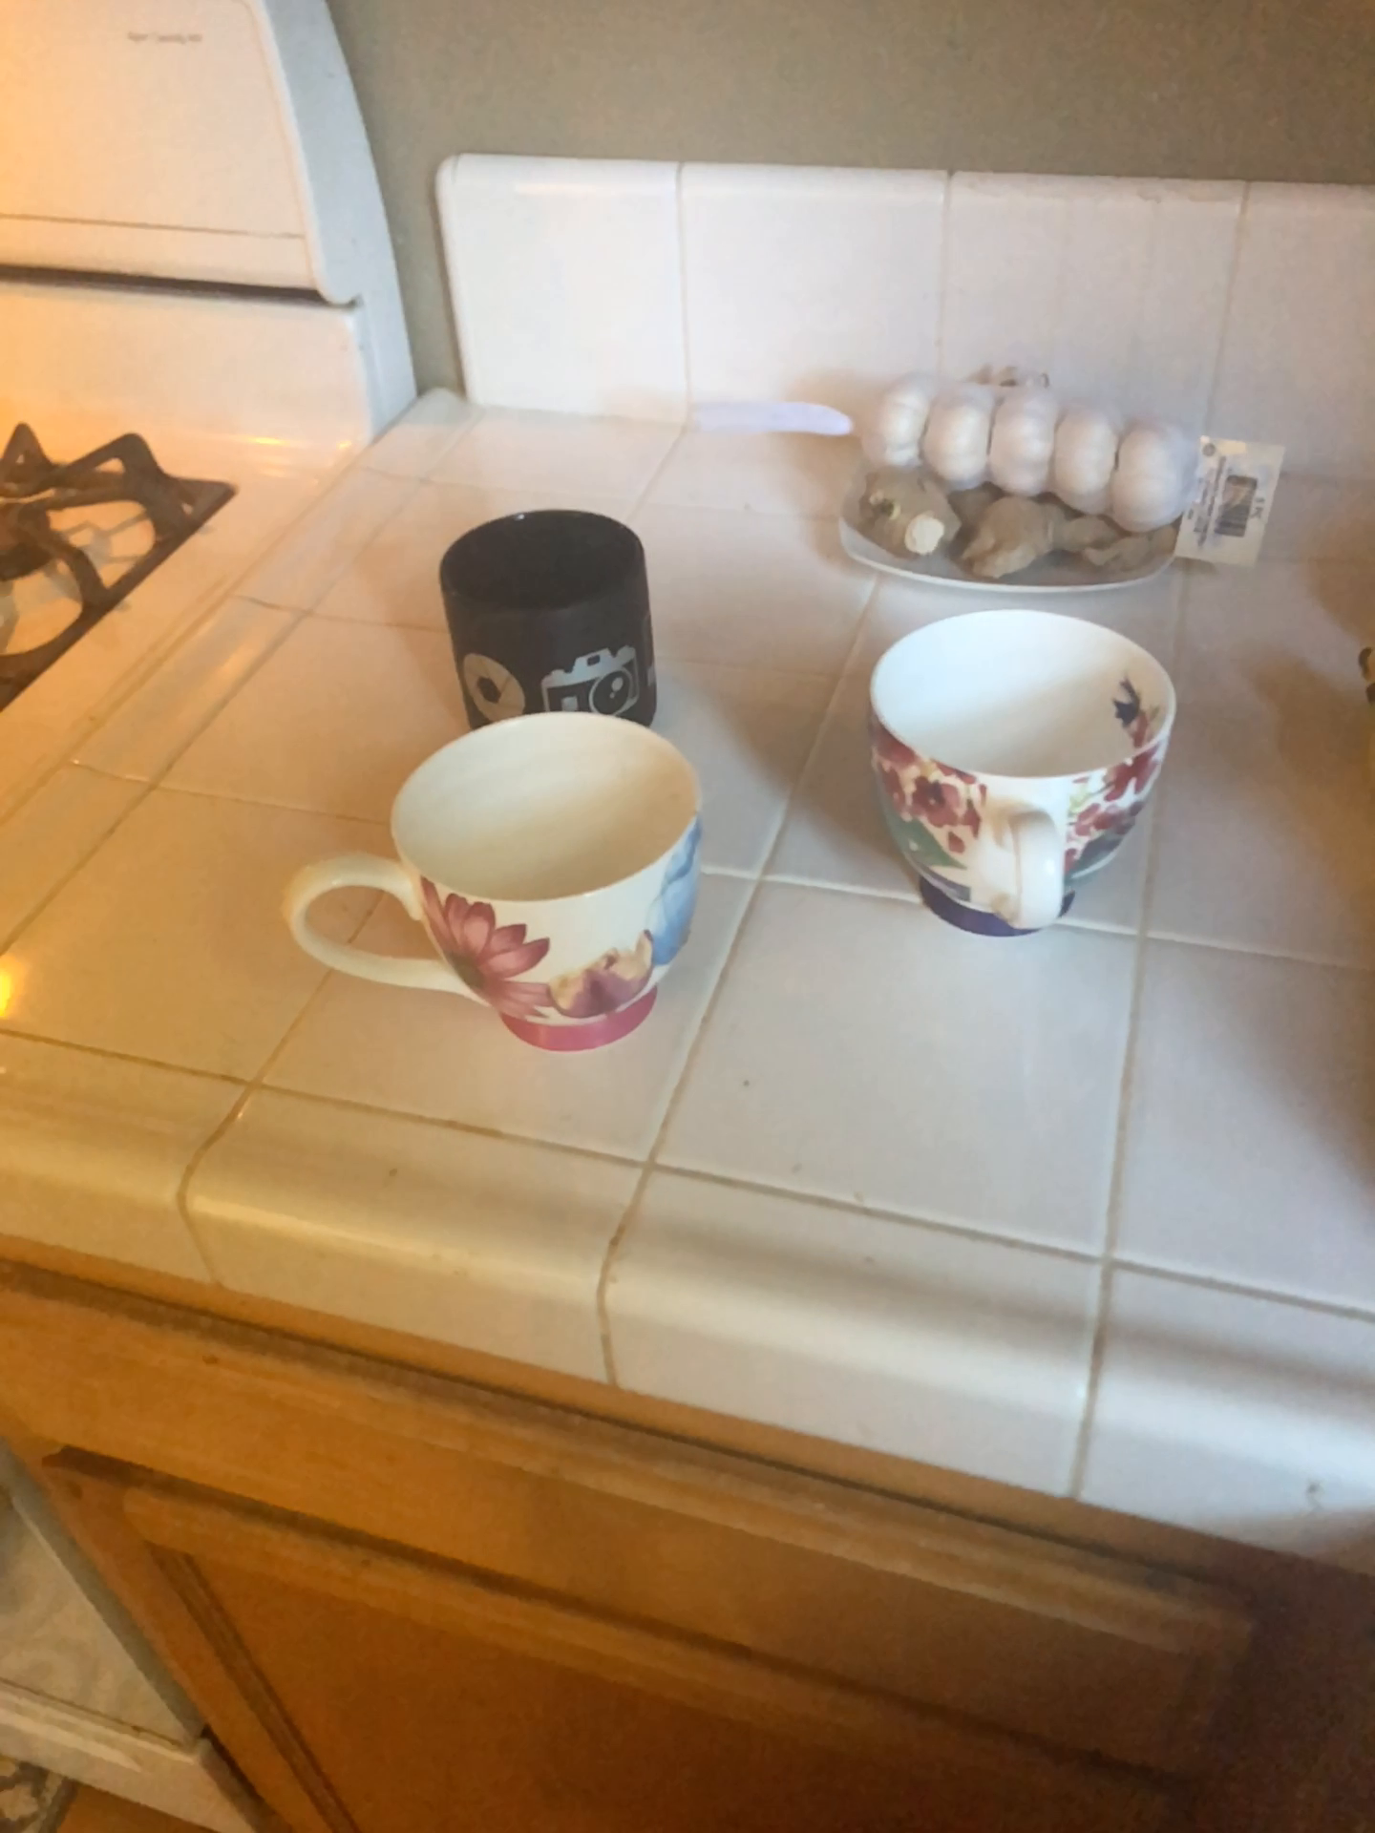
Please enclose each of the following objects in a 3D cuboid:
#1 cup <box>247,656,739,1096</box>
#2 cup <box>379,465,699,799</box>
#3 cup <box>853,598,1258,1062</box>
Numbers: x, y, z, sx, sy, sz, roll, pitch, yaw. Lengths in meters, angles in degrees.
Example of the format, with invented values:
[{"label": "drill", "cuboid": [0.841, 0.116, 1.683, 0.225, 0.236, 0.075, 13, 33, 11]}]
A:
[{"label": "cup", "cuboid": [-0.068, -0.017, 0.535, 0.150, 0.079, 0.111, -10, 43, -6]}, {"label": "cup", "cuboid": [-0.070, -0.135, 0.695, 0.110, 0.069, 0.141, -14, 44, -11]}, {"label": "cup", "cuboid": [0.124, -0.036, 0.559, 0.110, 0.089, 0.151, -3, 43, 1]}]
